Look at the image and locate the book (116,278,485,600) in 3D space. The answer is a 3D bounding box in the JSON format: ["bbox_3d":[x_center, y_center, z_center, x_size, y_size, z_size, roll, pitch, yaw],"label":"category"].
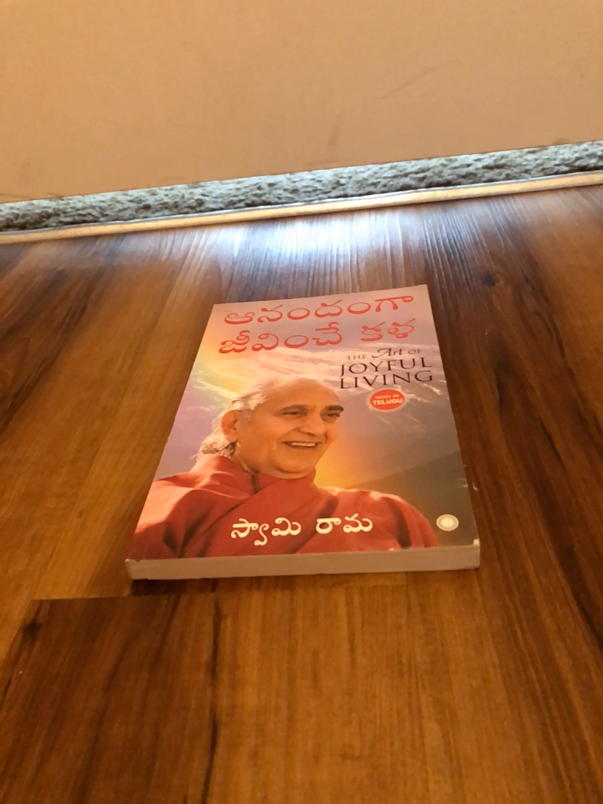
[{"bbox_3d":[0.005,0.002,0.351,0.144,0.020,0.220,-5,37,8],"label":"book"}]
